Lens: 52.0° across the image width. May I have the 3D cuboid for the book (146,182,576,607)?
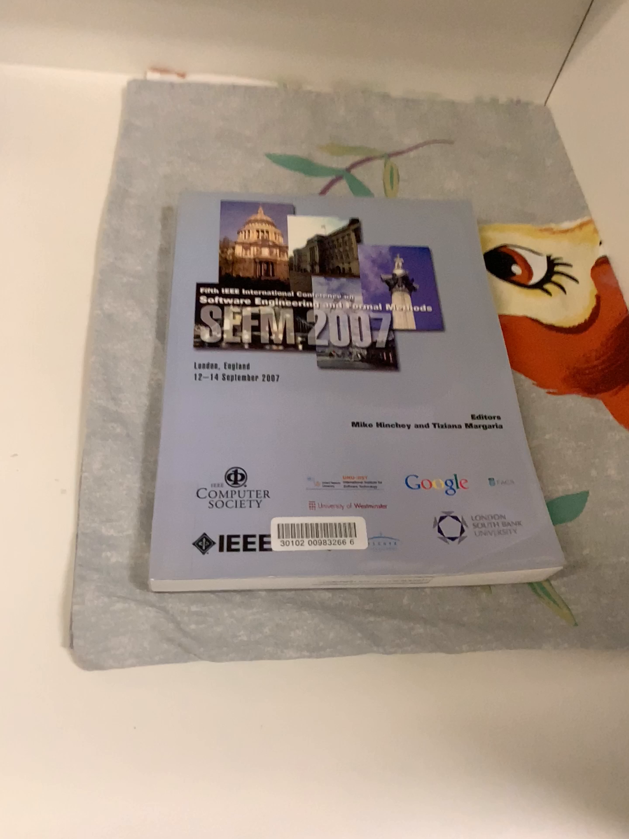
[{"bbox_3d":[0.018,-0.032,0.392,0.210,0.030,0.276,1,60,-7],"label":"book"}]
